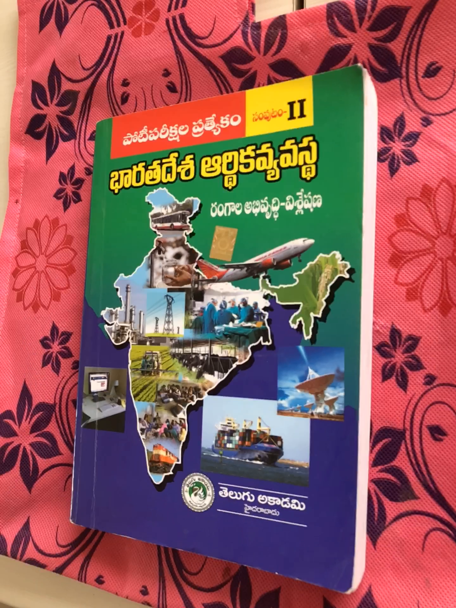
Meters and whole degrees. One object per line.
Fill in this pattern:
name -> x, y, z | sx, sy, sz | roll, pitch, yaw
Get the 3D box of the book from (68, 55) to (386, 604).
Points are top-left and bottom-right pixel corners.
book -> -0.004, 0.009, 0.315 | 0.190, 0.040, 0.280 | 0, 85, 25
